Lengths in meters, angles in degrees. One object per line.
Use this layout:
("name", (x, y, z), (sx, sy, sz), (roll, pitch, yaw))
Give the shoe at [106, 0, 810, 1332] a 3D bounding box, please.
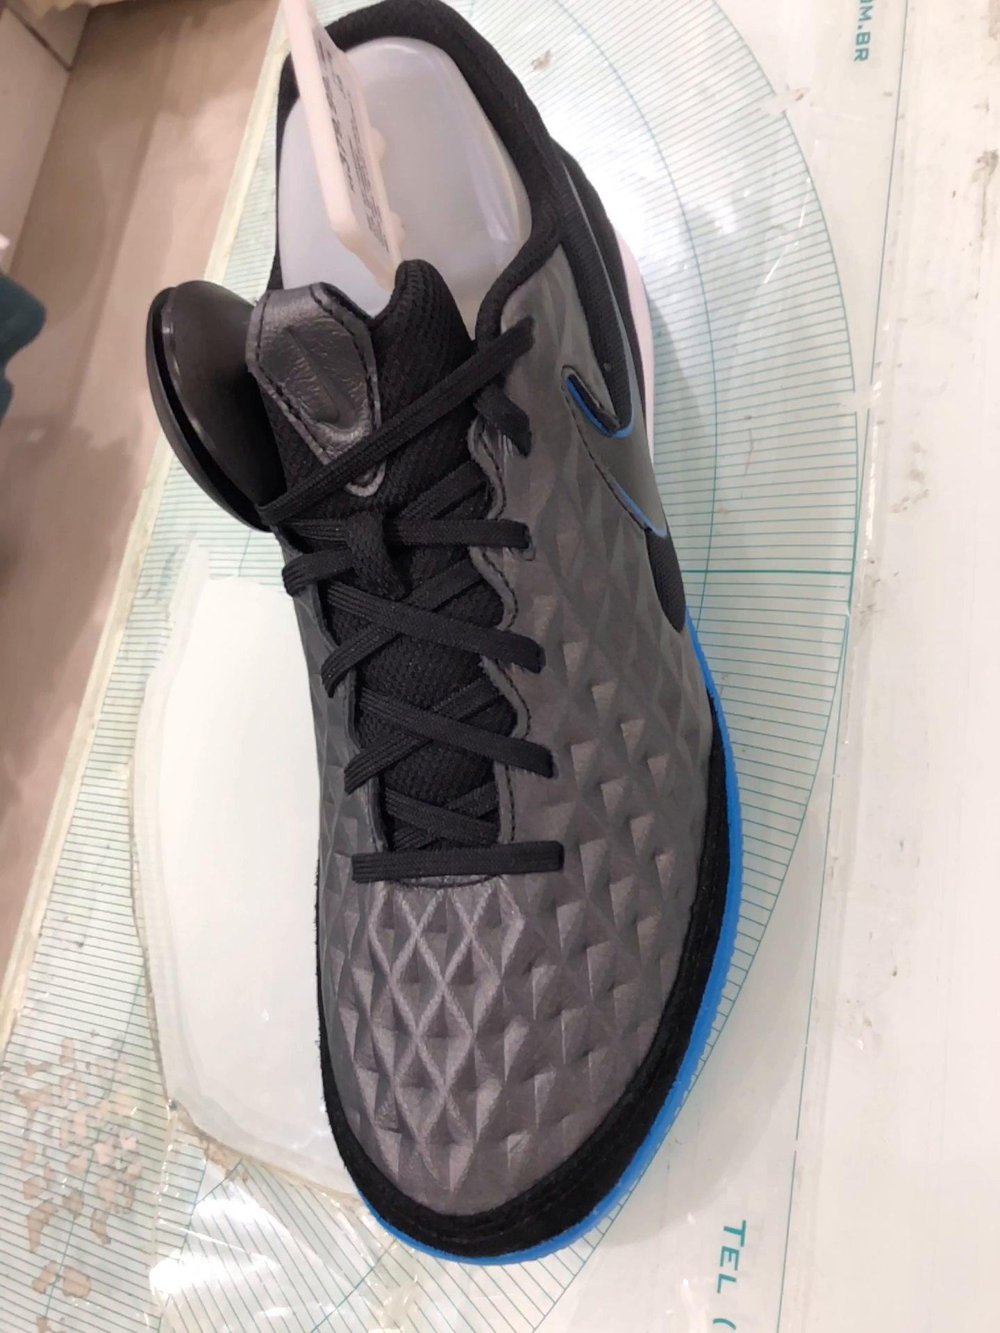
("shoe", (0.003, -0.022, 0.257), (0.100, 0.100, 0.291), (-7, 69, 22))
